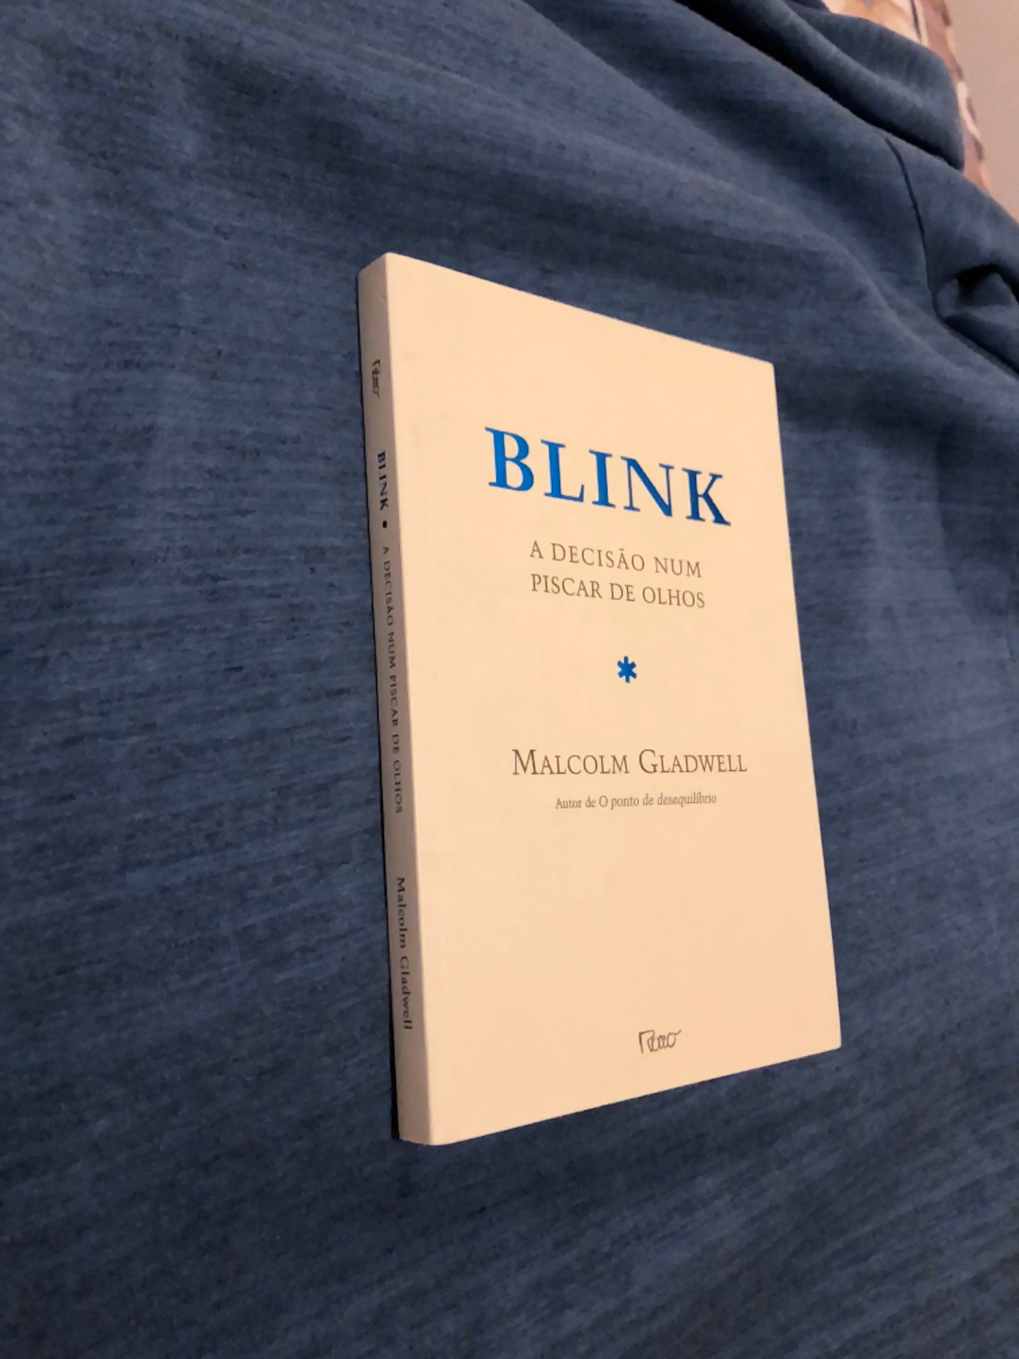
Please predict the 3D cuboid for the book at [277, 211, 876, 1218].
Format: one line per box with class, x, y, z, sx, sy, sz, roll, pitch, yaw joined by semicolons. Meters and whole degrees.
book;0.021;0.004;0.299;0.151;0.030;0.220;3;75;-38
